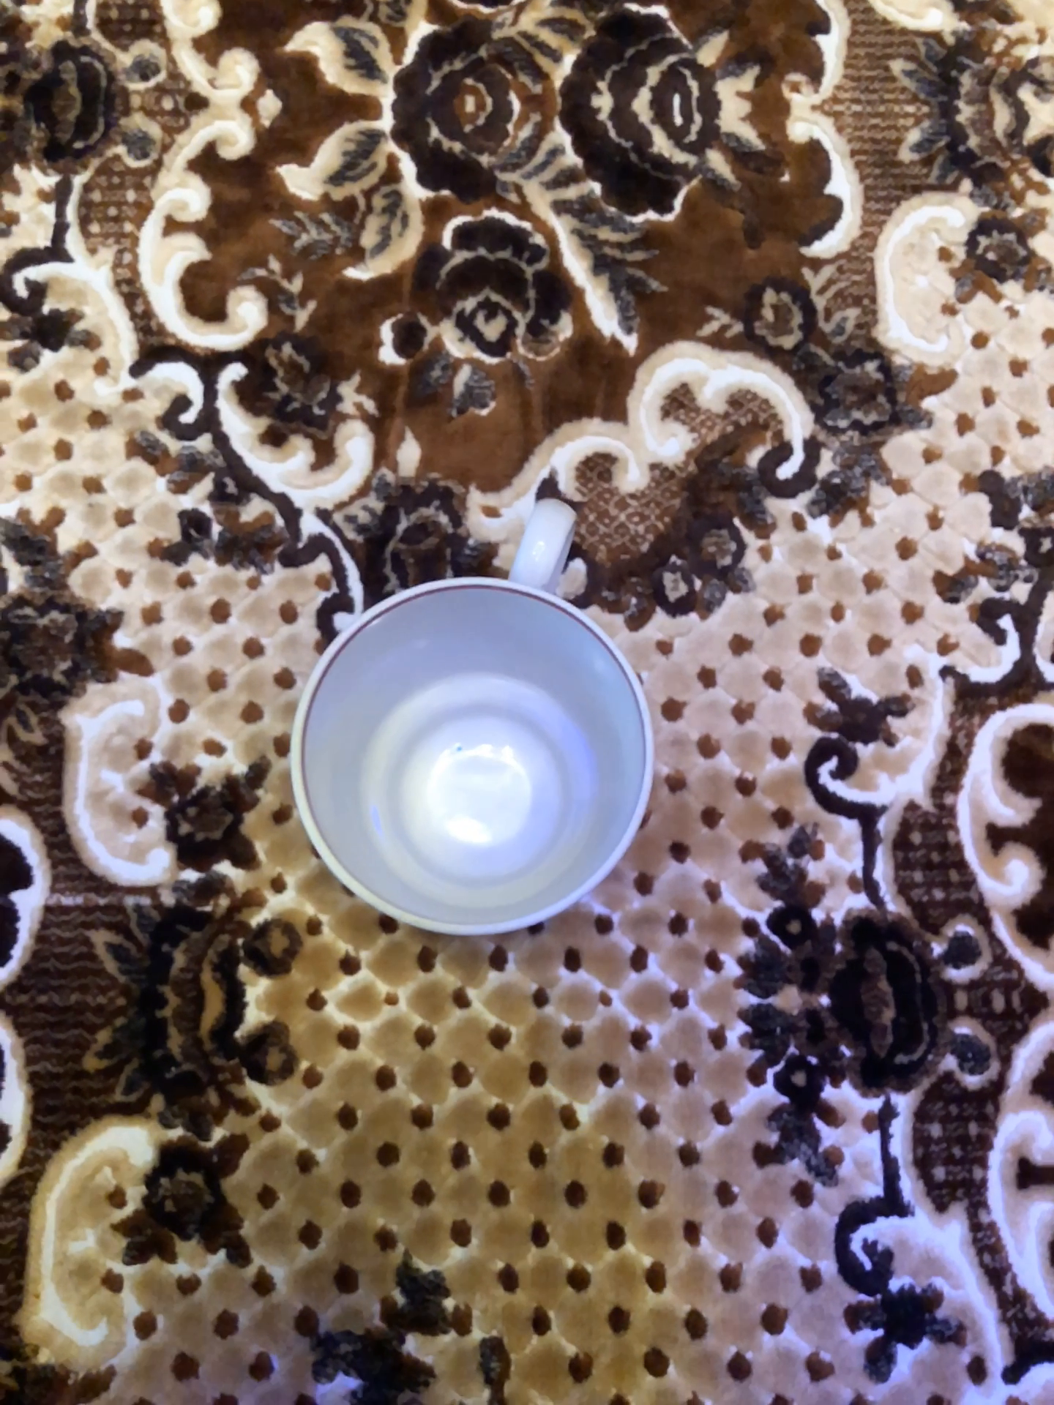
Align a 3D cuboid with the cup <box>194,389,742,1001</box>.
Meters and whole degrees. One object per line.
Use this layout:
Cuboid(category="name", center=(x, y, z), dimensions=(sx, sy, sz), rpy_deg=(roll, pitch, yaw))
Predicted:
Cuboid(category="cup", center=(-0.012, 0.004, 0.328), dimensions=(0.100, 0.090, 0.130), rpy_deg=(15, 78, 4))
